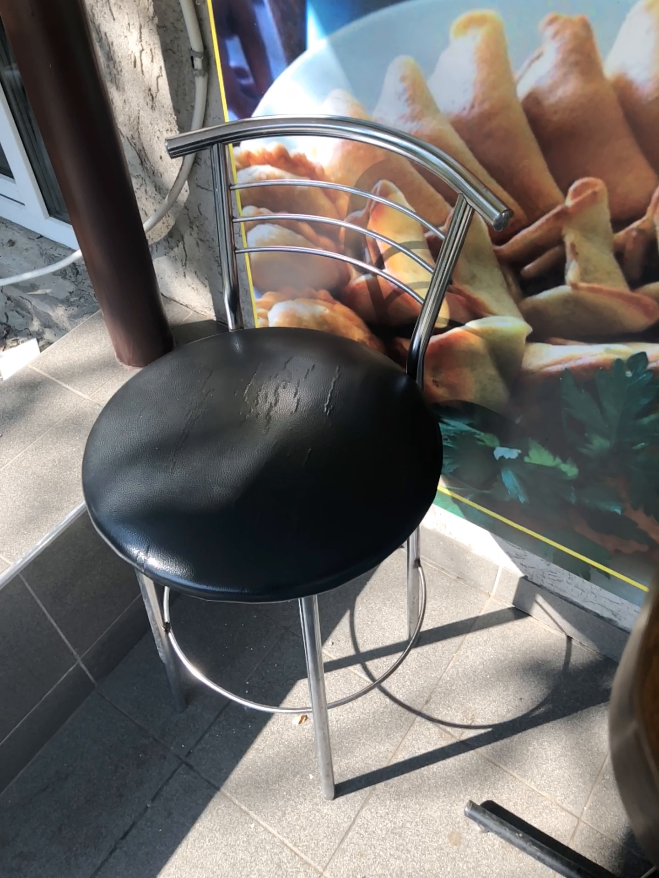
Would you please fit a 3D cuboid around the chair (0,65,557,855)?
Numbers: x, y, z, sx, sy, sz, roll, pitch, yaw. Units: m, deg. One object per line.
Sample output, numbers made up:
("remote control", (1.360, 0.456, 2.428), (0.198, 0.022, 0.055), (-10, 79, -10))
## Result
("chair", (-0.083, 0.105, 0.993), (0.480, 0.937, 0.481), (19, 53, 18))
